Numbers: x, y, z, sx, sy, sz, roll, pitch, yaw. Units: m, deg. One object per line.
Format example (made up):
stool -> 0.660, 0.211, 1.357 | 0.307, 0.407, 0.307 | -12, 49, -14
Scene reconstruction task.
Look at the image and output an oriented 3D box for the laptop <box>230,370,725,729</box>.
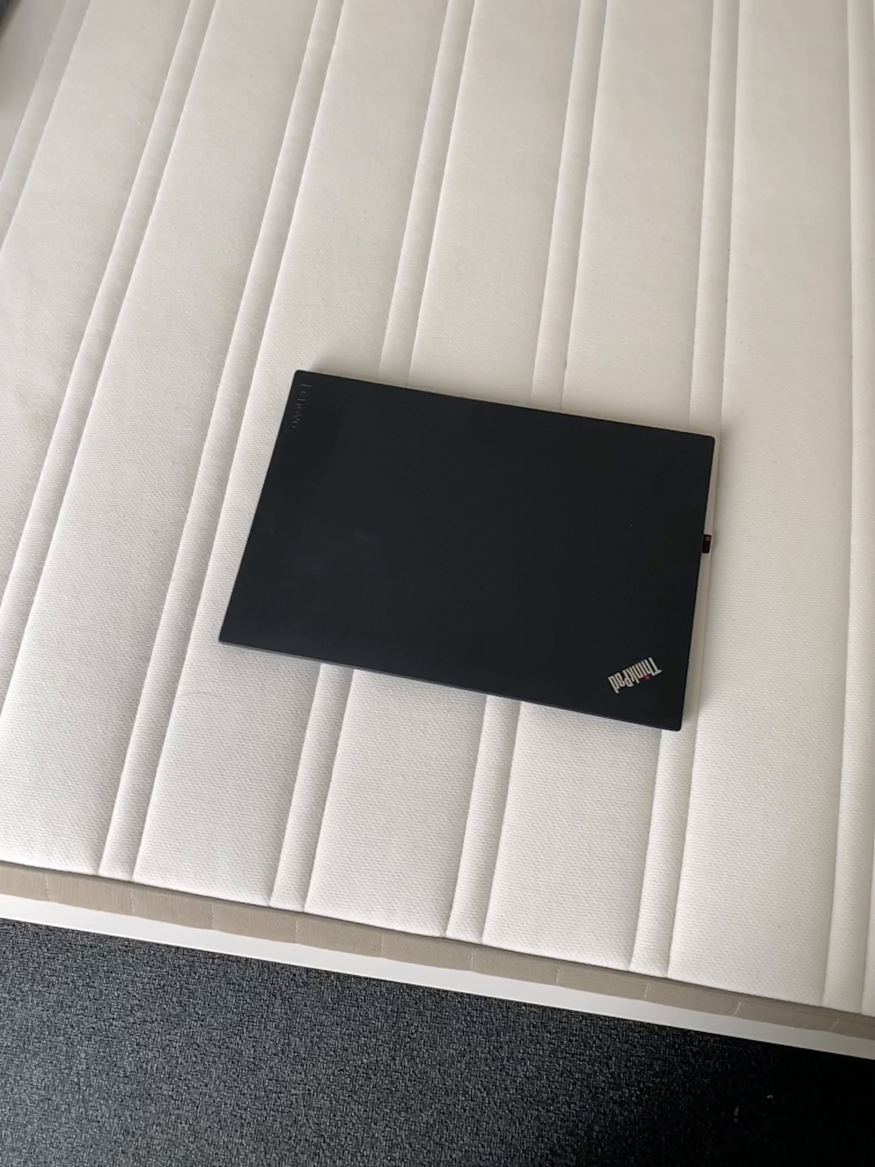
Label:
laptop -> 0.030, -0.029, 0.580 | 0.288, 0.005, 0.193 | 10, 74, 4
